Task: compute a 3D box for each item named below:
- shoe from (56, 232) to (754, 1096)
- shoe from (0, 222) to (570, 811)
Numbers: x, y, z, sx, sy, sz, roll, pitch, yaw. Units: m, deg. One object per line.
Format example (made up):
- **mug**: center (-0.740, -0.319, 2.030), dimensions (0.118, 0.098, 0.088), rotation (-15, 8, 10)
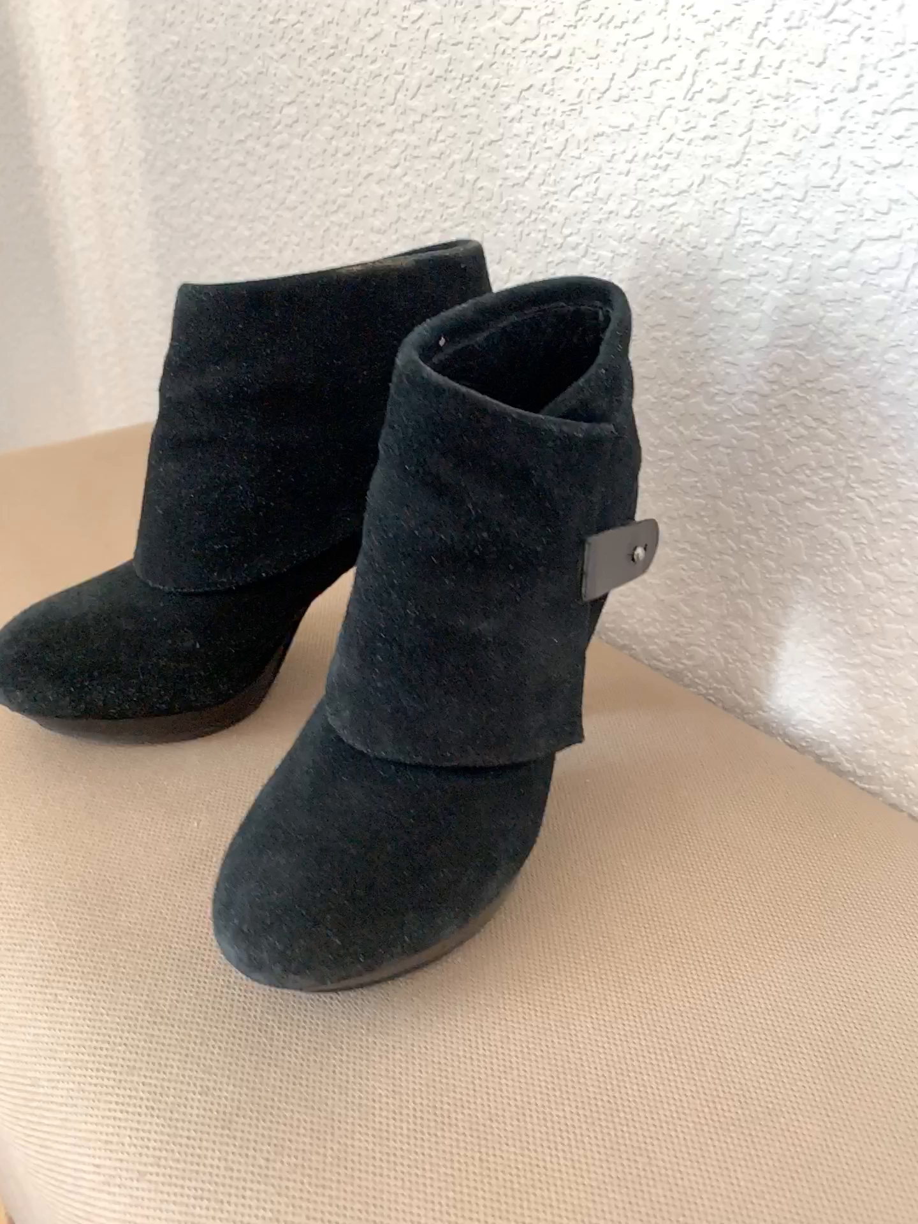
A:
- **shoe**: center (0.005, -0.006, 0.302), dimensions (0.090, 0.166, 0.218), rotation (19, 38, 21)
- **shoe**: center (-0.082, -0.046, 0.365), dimensions (0.217, 0.166, 0.090), rotation (-14, 38, -23)
